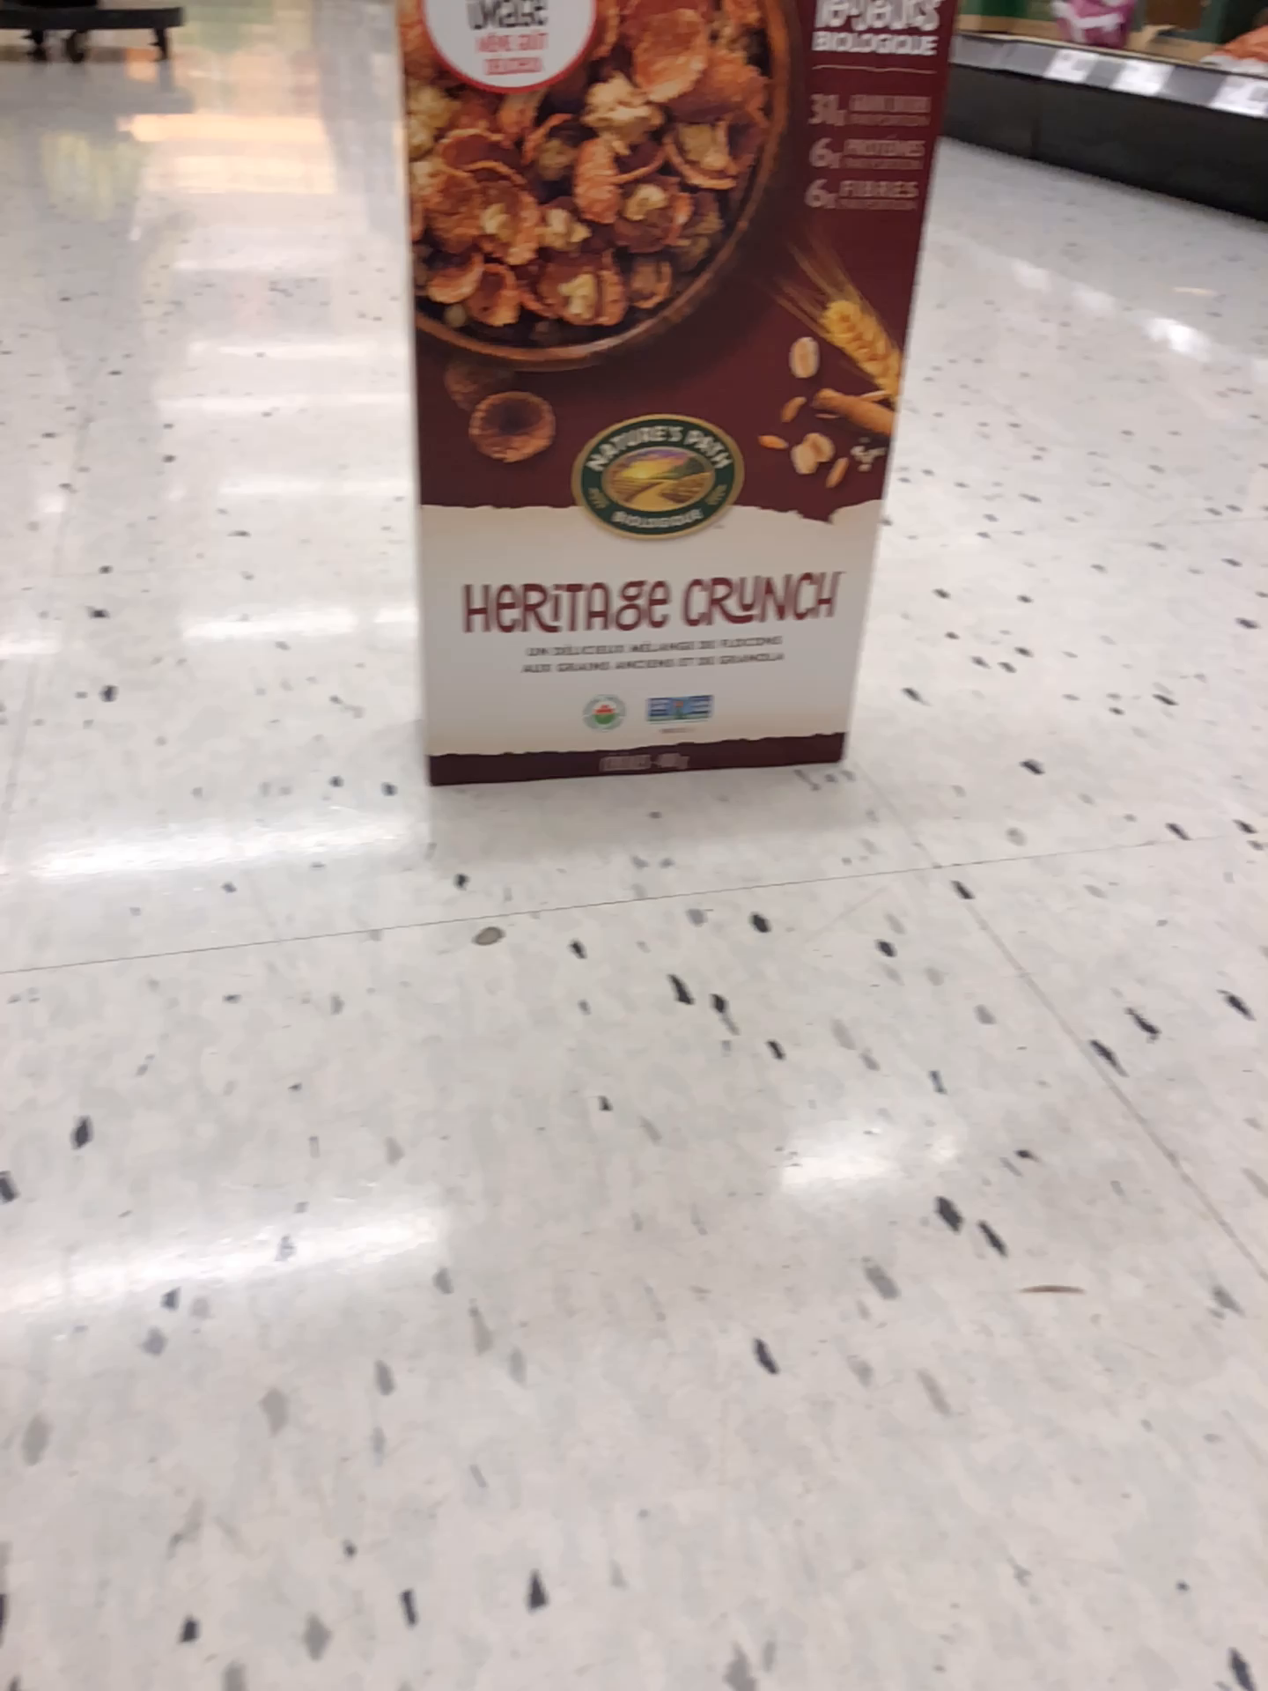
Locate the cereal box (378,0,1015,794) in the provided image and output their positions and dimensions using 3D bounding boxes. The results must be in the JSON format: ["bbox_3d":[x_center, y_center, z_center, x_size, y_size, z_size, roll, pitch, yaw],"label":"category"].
[{"bbox_3d":[0.010,-0.145,0.459,0.170,0.248,0.060,-4,33,-12],"label":"cereal box"}]
